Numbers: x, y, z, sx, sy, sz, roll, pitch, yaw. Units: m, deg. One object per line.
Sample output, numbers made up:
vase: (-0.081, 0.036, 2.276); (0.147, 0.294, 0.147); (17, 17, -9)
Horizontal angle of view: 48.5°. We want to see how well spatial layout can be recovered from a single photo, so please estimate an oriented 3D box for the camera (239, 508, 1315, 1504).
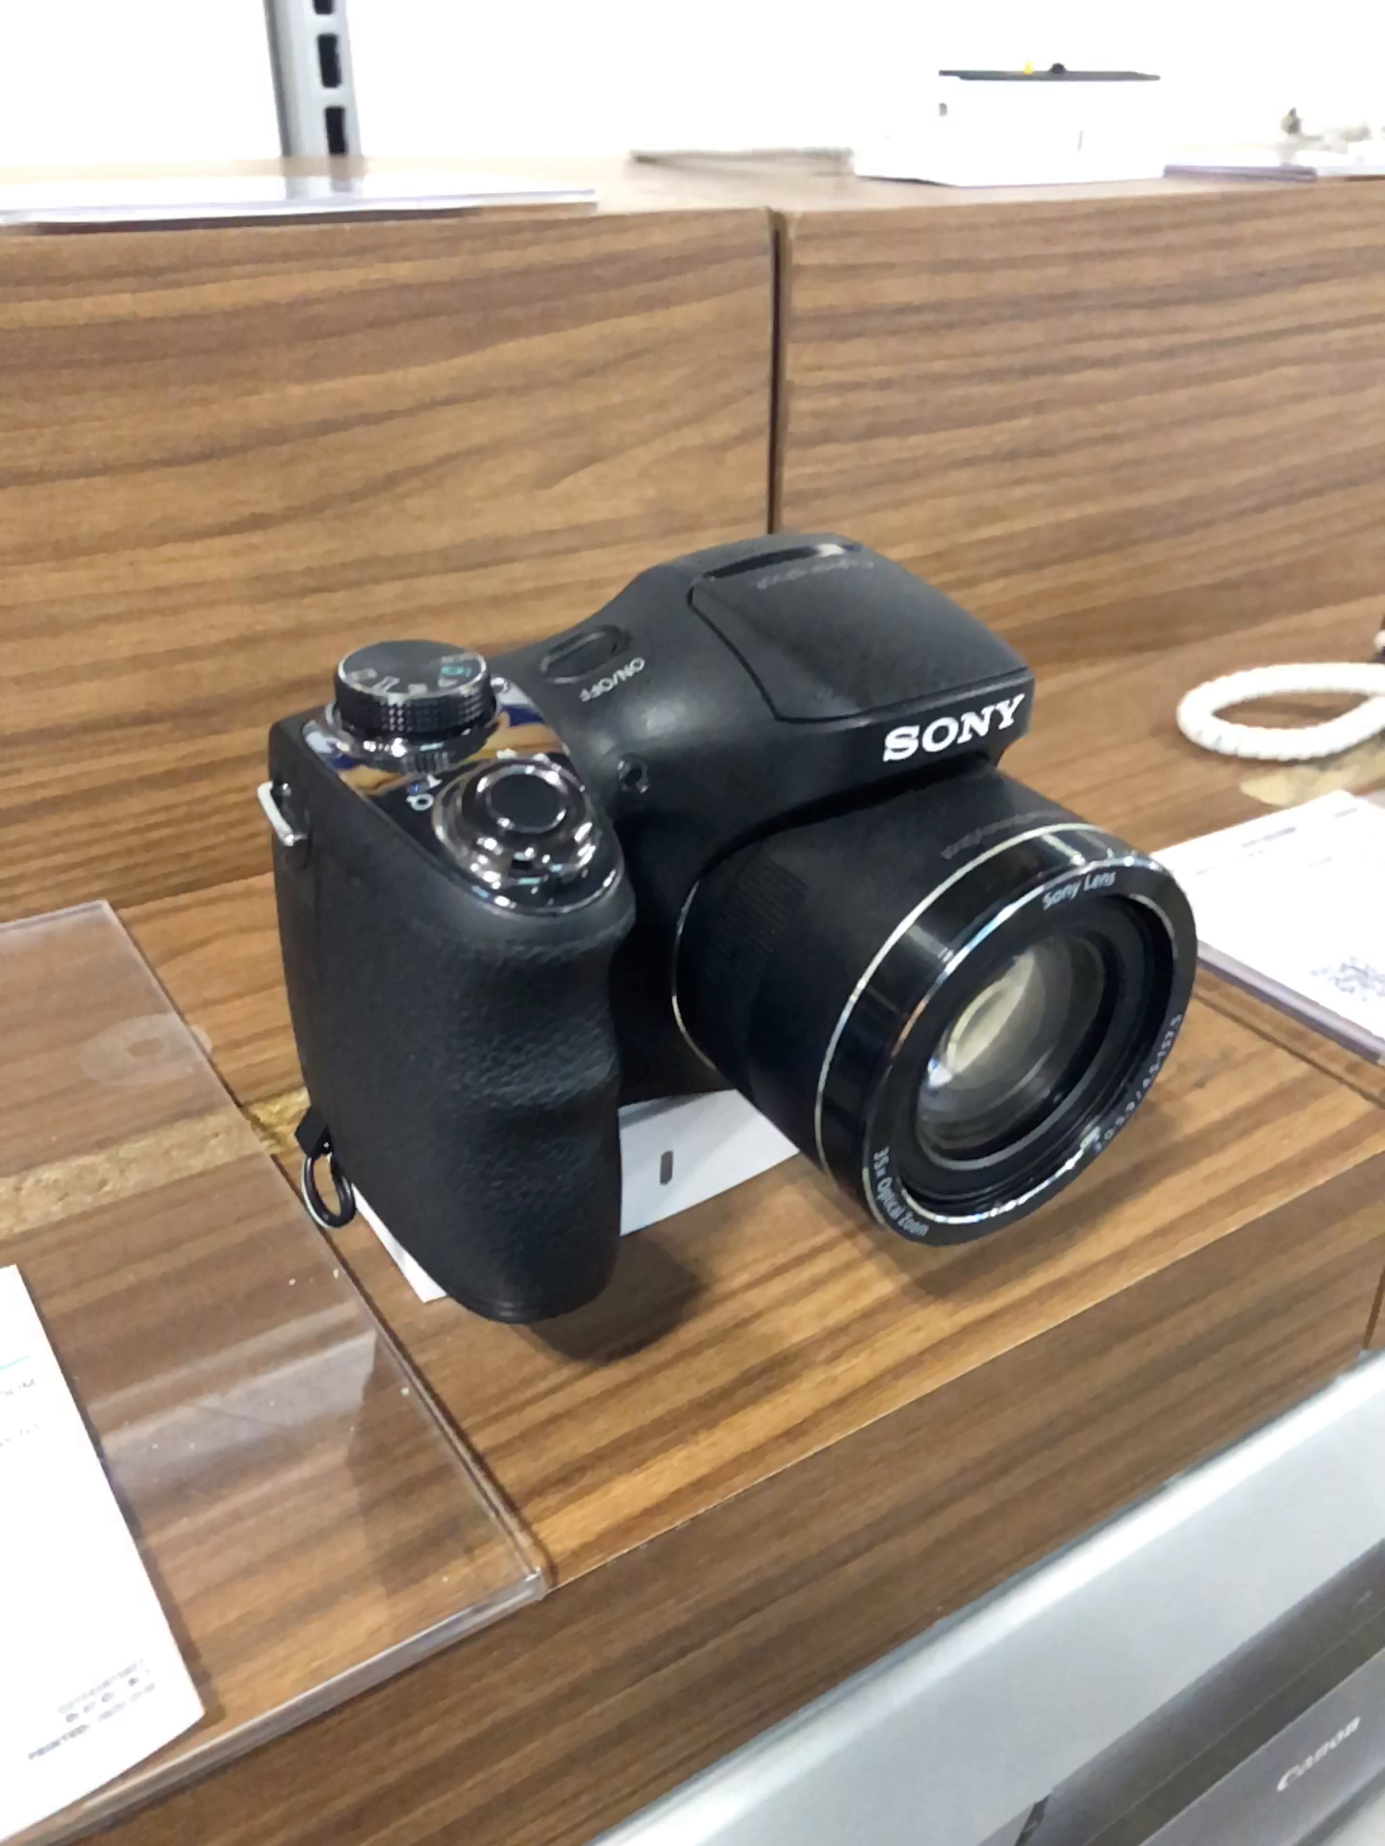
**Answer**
camera: (0.012, -0.002, 0.235); (0.120, 0.092, 0.090); (-18, 31, -31)
